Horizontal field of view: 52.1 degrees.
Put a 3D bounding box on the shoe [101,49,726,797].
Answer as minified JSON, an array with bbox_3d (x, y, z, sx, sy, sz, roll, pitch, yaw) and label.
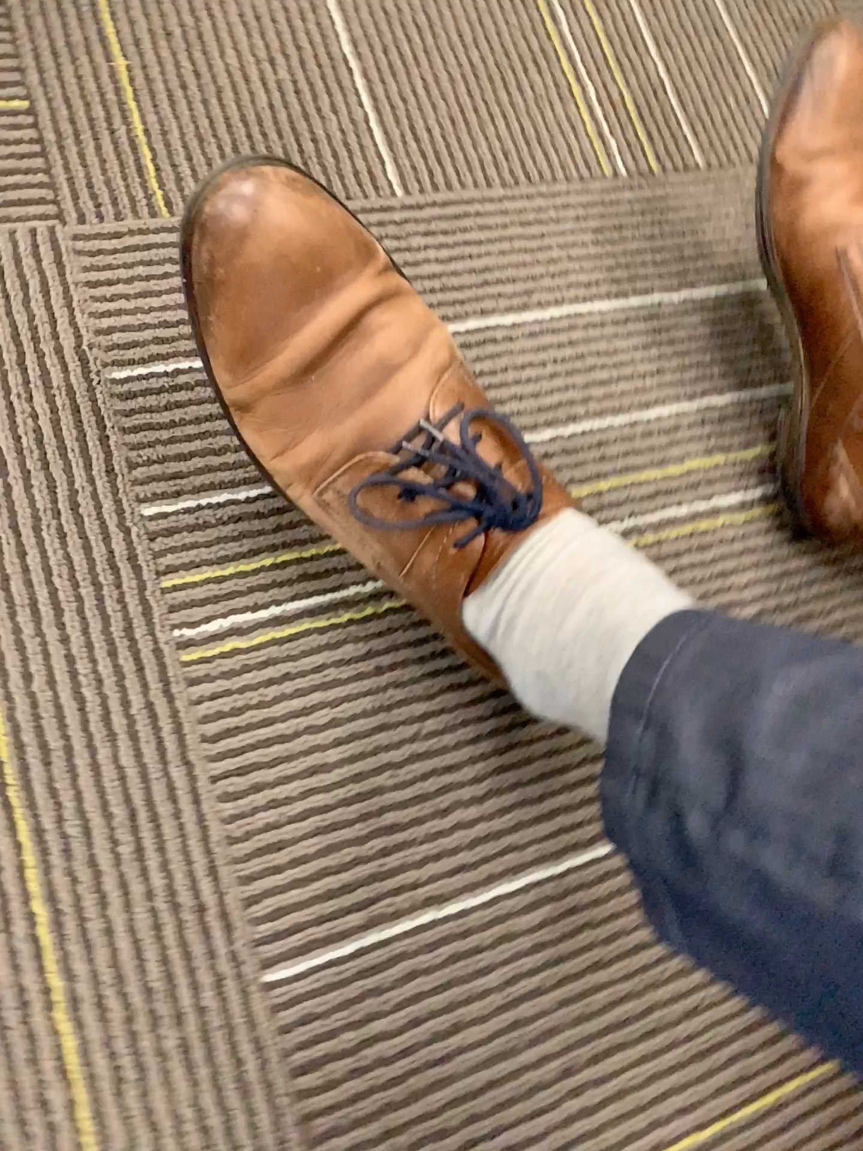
[{"bbox_3d":[-0.002,-0.053,0.388,0.121,0.084,0.271,-39,108,-10],"label":"shoe"}]

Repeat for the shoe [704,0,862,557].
[{"bbox_3d":[0.234,-0.161,0.487,0.103,0.074,0.281,-18,99,-40],"label":"shoe"}]
